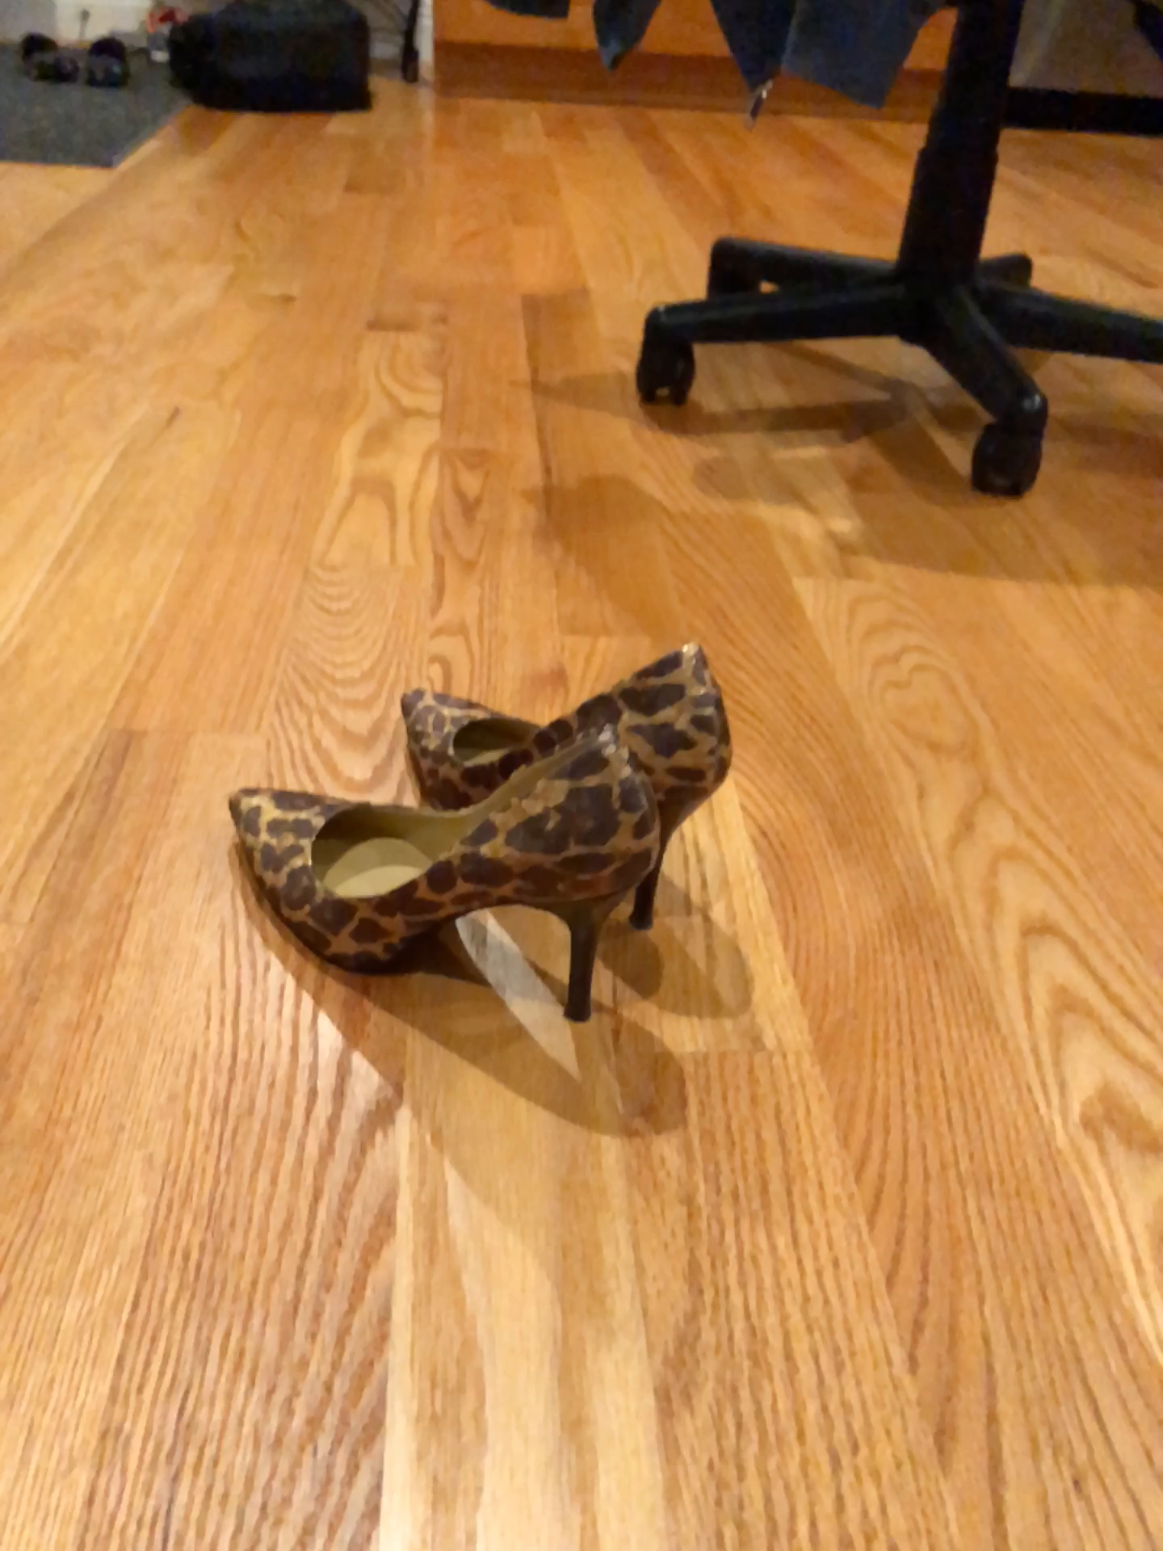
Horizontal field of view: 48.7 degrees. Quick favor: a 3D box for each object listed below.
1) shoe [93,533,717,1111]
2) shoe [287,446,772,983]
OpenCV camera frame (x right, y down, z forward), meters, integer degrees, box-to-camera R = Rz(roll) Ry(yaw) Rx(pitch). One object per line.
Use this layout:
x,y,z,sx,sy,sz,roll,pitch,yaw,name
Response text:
-0.073,0.010,0.505,0.227,0.136,0.076,22,37,24,shoe
-0.035,-0.038,0.566,0.076,0.135,0.228,-22,42,-34,shoe
